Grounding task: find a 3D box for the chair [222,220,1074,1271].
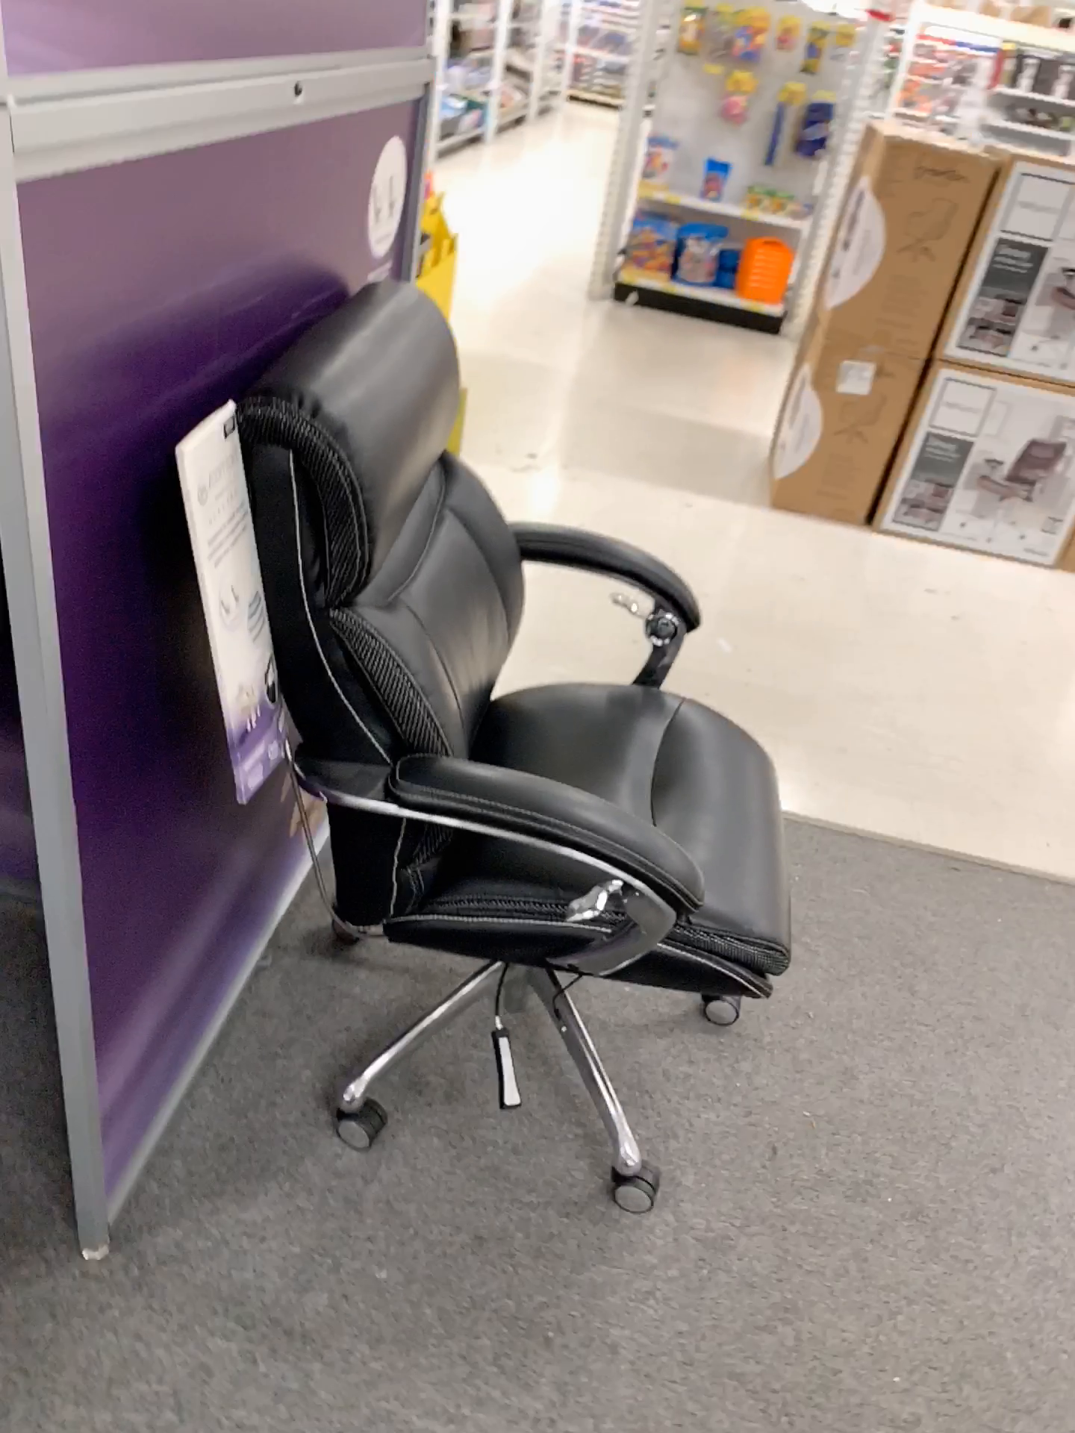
[{"bbox_3d":[0.098,-0.003,1.426,0.720,0.955,0.774,13,33,3],"label":"chair"}]
